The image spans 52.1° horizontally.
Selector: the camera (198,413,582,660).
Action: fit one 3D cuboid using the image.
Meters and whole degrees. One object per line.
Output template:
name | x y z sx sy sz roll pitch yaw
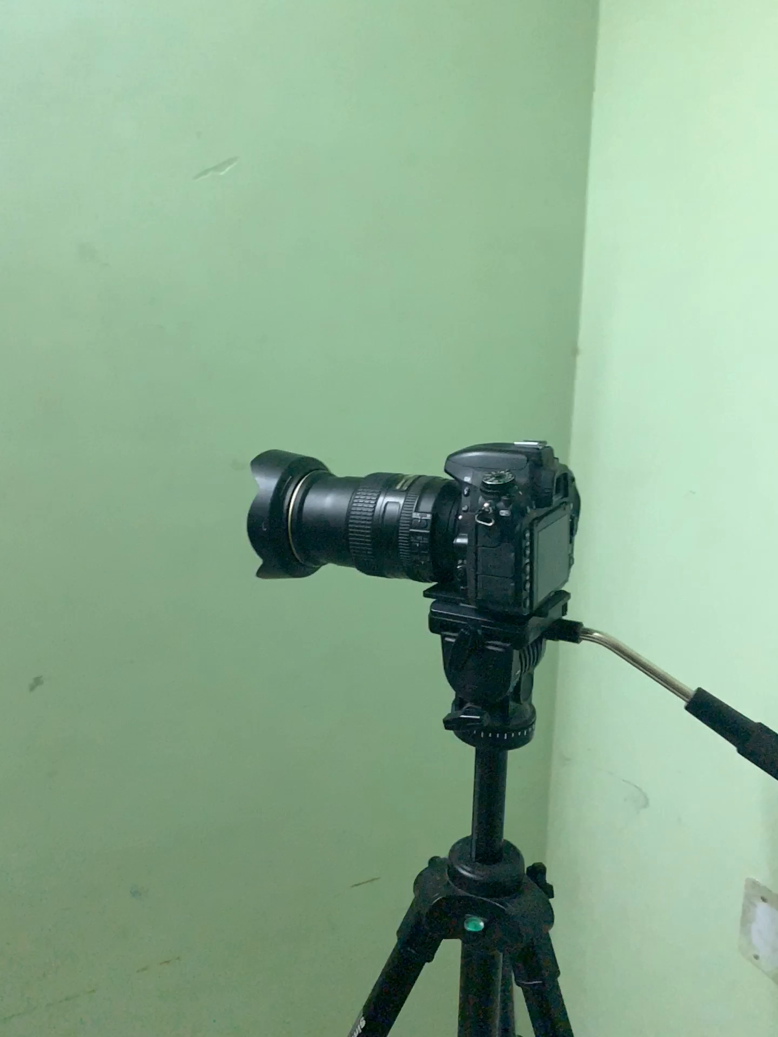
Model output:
camera | 0.003 -0.003 0.632 0.250 0.132 0.164 8 15 29
